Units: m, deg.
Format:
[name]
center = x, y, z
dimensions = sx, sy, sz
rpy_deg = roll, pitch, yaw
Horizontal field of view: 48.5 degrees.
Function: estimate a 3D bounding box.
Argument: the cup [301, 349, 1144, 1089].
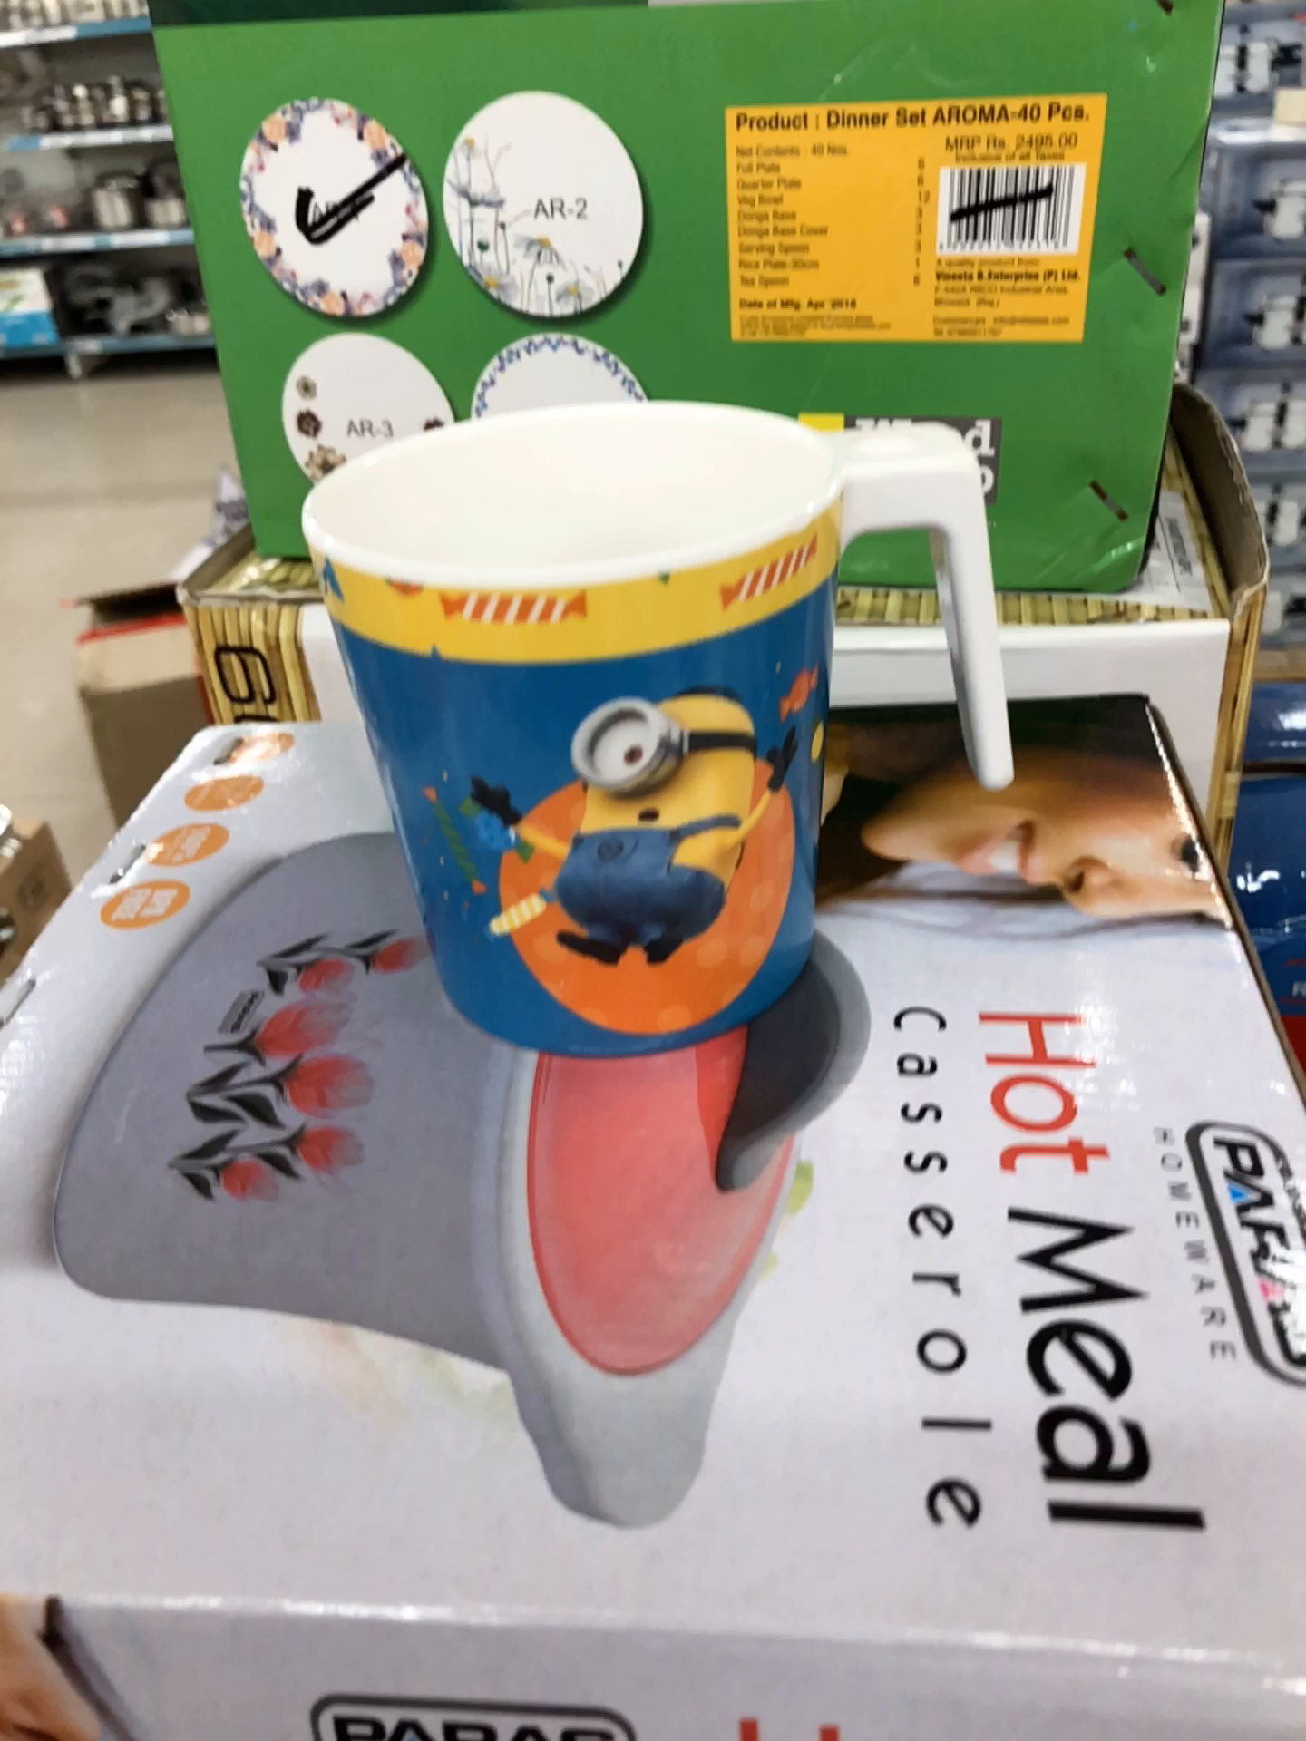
[cup]
center = 0.008, -0.030, 0.240
dimensions = 0.110, 0.079, 0.080
rpy_deg = -9, 32, -5
